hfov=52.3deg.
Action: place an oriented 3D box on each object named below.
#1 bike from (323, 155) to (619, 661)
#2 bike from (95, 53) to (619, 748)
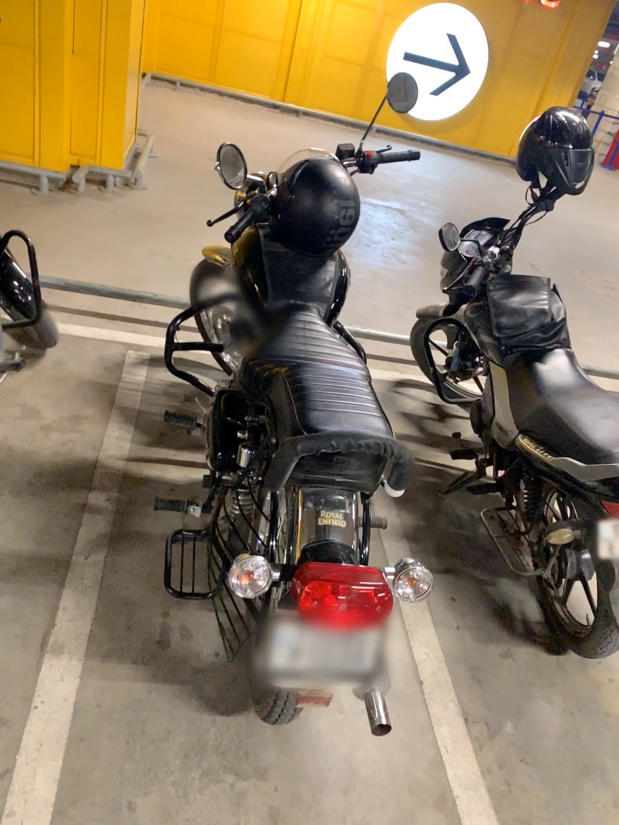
[{"bbox_3d":[0.608,-0.173,2.180,0.598,0.924,1.726,6,32,-15],"label":"bike"},{"bbox_3d":[-0.195,-0.225,1.834,0.764,1.050,1.832,3,35,-19],"label":"bike"}]
